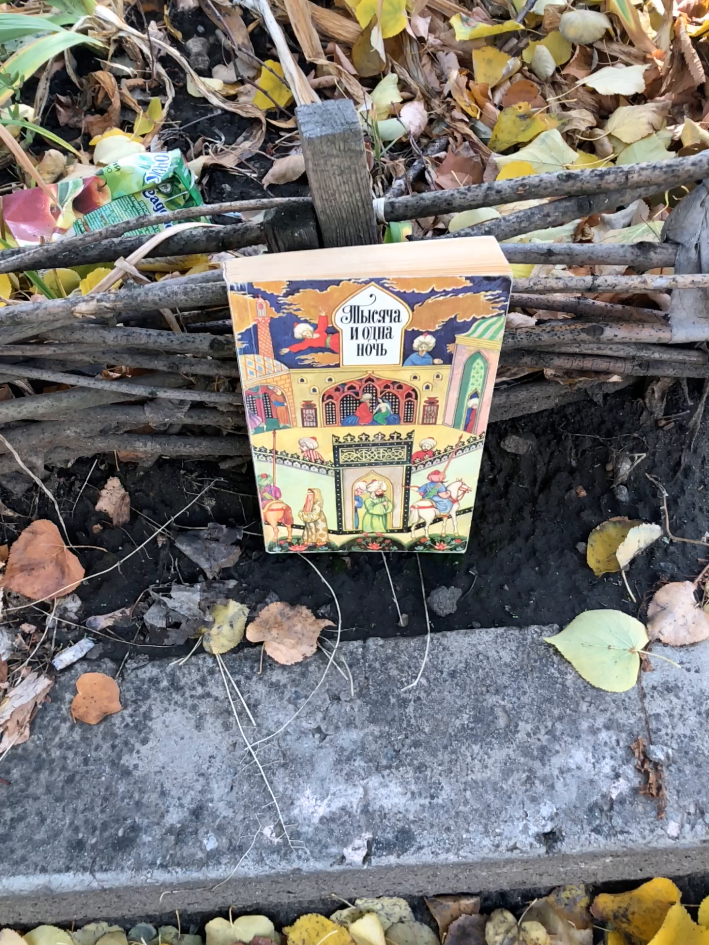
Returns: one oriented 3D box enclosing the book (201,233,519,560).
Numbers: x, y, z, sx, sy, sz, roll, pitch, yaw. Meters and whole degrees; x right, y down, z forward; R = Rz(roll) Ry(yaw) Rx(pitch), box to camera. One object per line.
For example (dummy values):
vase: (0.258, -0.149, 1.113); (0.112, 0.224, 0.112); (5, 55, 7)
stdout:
book: (0.006, -0.024, 0.377); (0.122, 0.182, 0.029); (0, 47, 3)
